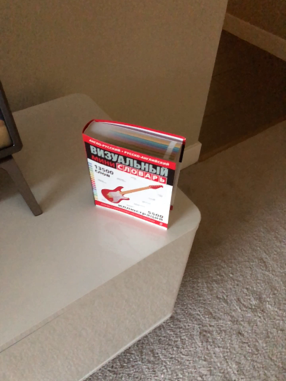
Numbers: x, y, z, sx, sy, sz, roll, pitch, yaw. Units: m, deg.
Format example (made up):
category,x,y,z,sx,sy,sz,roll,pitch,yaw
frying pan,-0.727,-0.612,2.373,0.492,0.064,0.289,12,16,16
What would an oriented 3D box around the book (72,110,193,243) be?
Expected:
category,x,y,z,sx,sy,sz,roll,pitch,yaw
book,-0.017,-0.014,0.488,0.150,0.179,0.060,16,49,11
